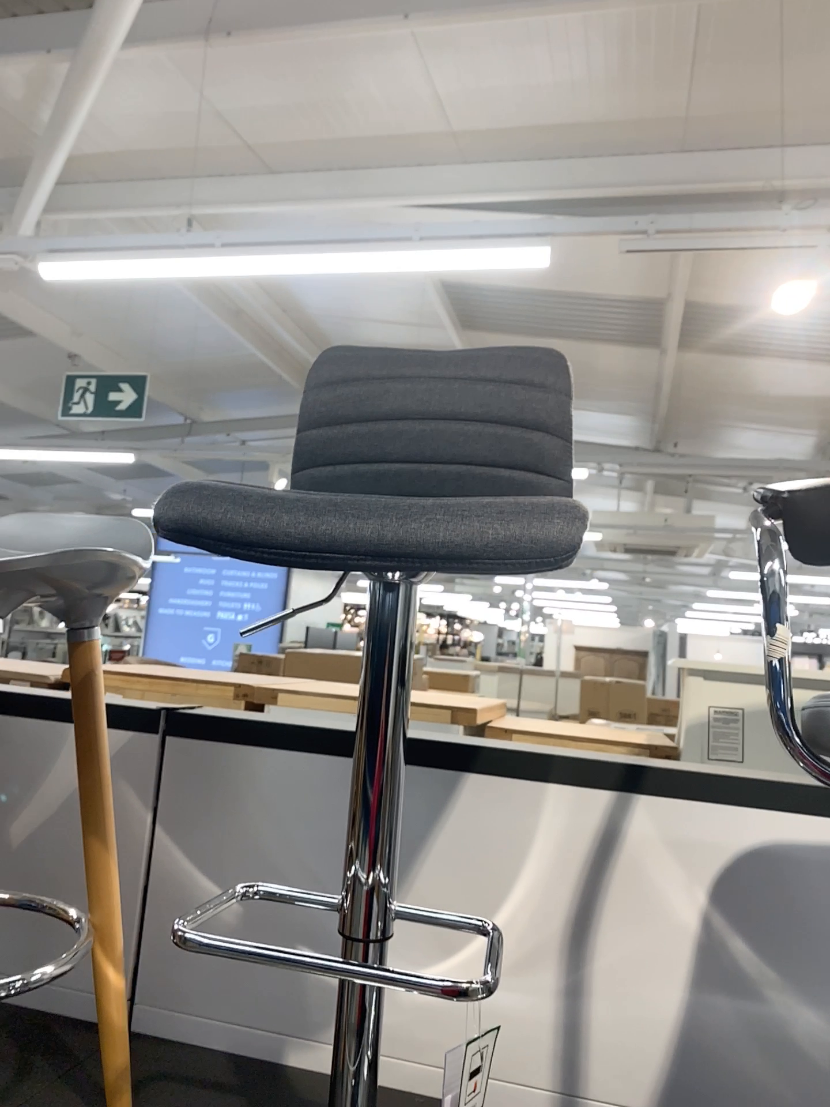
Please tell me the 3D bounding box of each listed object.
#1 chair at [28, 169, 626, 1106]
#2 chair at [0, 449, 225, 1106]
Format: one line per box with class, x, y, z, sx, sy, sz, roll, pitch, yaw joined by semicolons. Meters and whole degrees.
chair;-0.027;0.182;0.957;0.446;1.034;0.451;3;-8;10
chair;-0.549;0.304;0.968;0.446;0.743;0.451;3;-8;10
